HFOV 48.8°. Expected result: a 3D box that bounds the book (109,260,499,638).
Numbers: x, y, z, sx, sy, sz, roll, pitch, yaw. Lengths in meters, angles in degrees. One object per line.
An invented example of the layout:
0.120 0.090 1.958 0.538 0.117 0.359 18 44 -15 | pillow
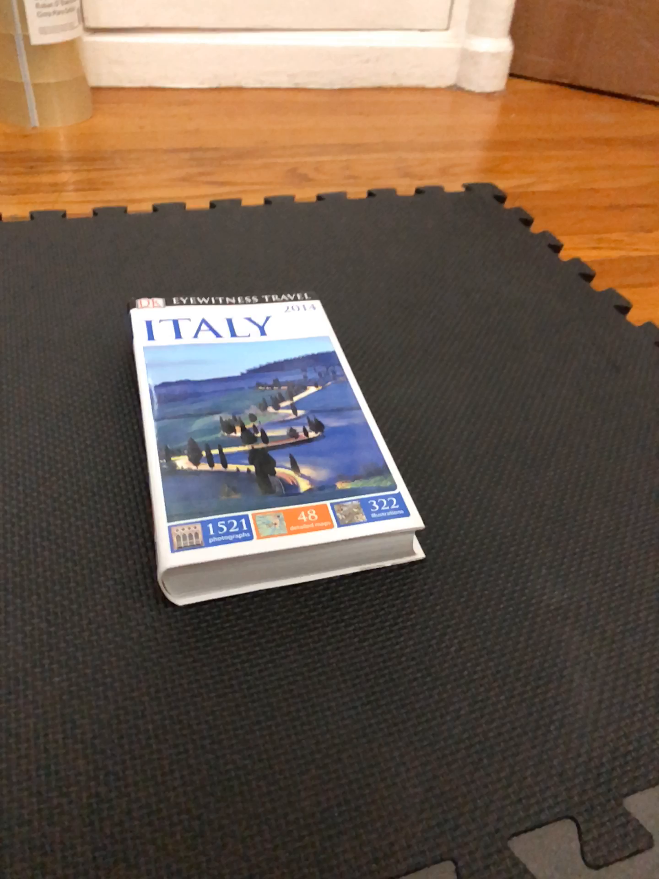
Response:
-0.034 -0.019 0.422 0.160 0.040 0.251 -8 44 -15 | book
